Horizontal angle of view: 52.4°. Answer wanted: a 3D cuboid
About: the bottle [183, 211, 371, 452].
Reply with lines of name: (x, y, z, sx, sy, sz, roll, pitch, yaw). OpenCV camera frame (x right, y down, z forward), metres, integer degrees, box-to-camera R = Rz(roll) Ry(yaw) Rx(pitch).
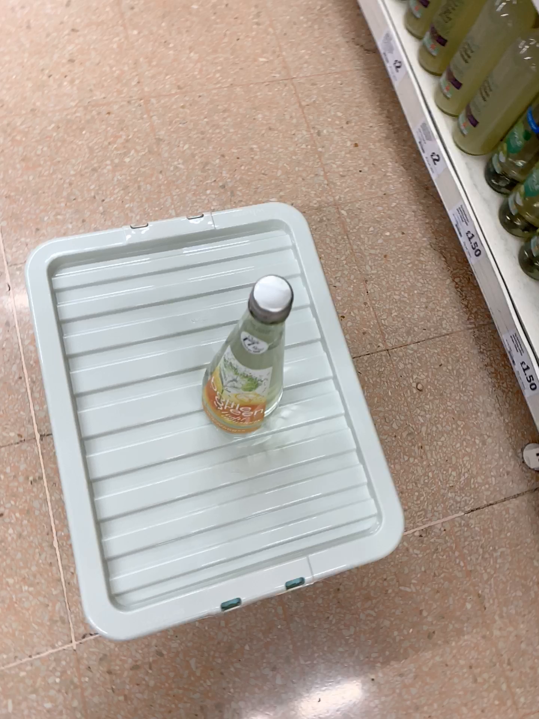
bottle: (-0.012, 0.002, 0.484, 0.090, 0.289, 0.090, 2, 73, -7)
